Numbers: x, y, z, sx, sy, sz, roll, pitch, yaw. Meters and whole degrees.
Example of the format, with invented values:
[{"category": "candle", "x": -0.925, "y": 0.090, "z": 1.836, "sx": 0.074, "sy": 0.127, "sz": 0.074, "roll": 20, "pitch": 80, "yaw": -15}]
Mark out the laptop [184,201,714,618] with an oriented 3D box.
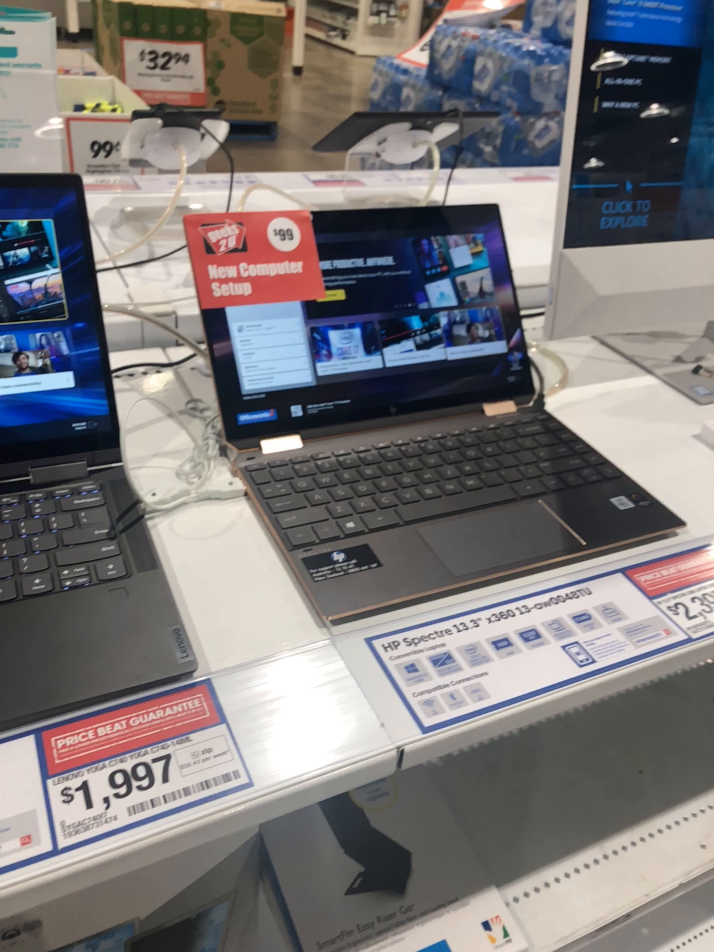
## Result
[{"category": "laptop", "x": 0.056, "y": -0.086, "z": 0.611, "sx": 0.298, "sy": 0.147, "sz": 0.315, "roll": -10, "pitch": 38, "yaw": -23}]
